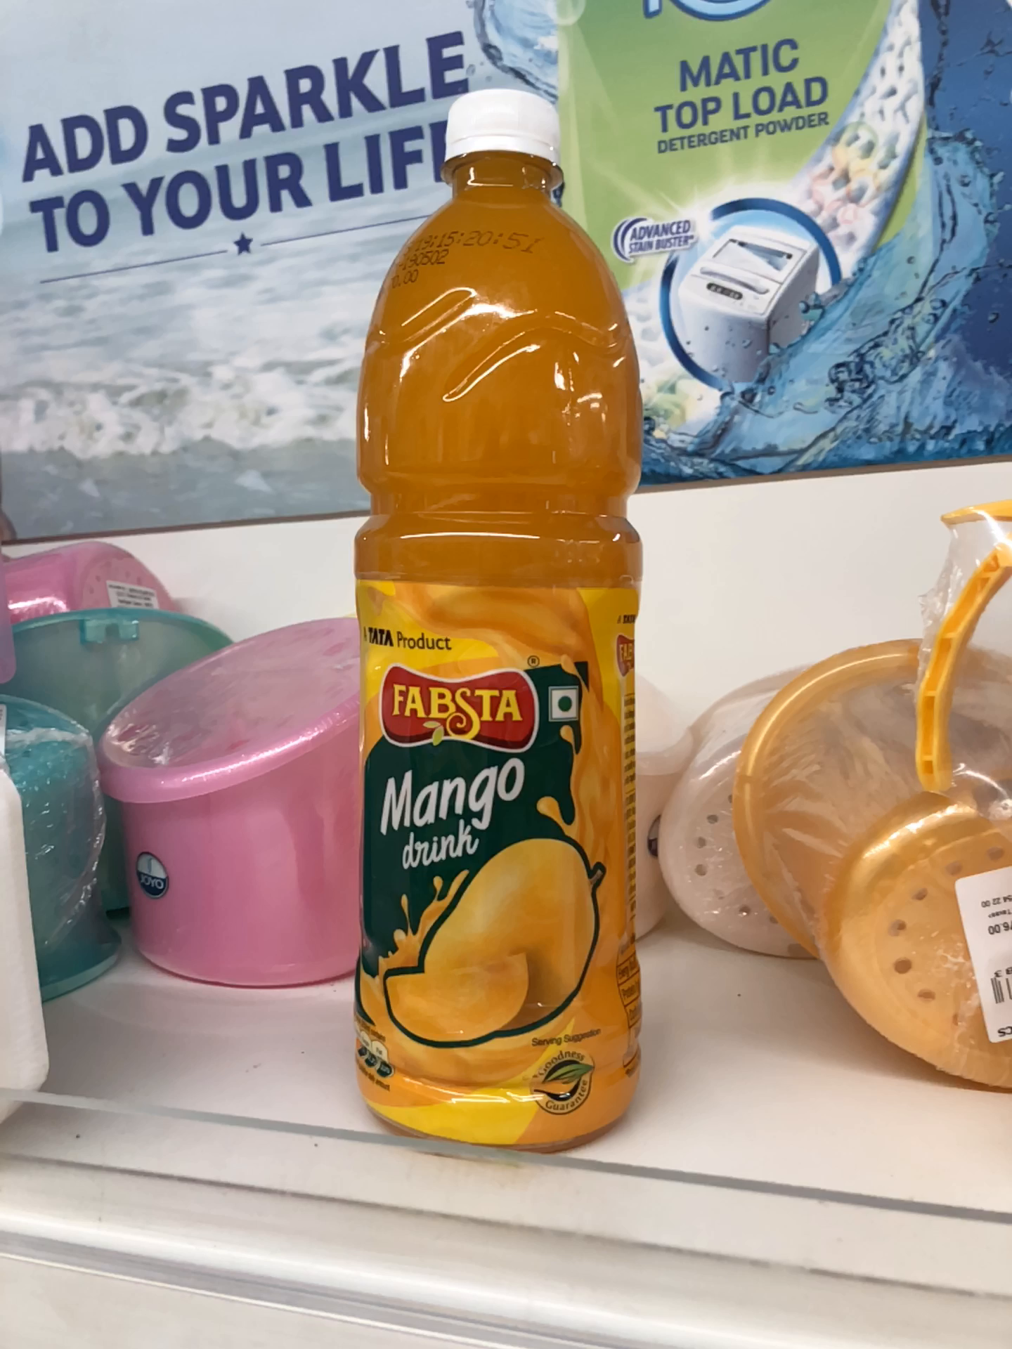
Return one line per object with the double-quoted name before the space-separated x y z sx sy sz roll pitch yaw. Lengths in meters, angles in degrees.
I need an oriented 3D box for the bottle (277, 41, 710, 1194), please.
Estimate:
"bottle" 0.000 -0.013 0.303 0.090 0.260 0.080 3 5 16
